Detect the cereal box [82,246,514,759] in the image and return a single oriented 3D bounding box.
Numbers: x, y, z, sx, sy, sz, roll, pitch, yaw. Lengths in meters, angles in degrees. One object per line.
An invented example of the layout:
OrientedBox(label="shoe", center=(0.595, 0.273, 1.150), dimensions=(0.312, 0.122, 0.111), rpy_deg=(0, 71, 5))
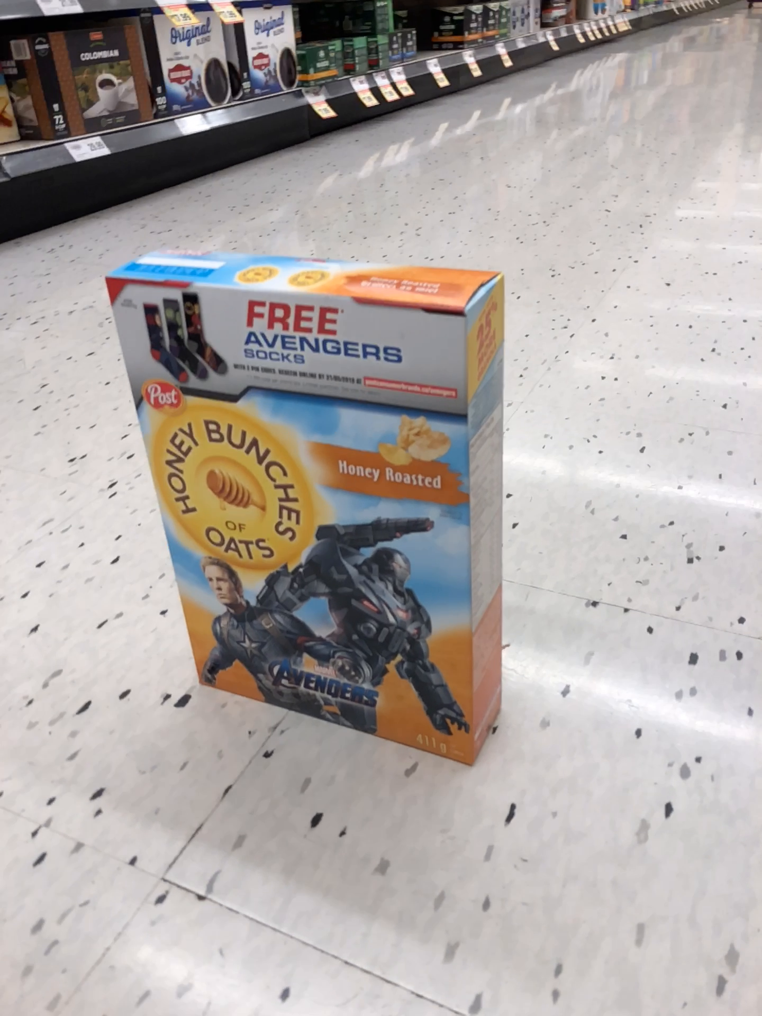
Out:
OrientedBox(label="cereal box", center=(-0.035, -0.001, 0.461), dimensions=(0.200, 0.258, 0.060), rpy_deg=(10, 34, 22))
